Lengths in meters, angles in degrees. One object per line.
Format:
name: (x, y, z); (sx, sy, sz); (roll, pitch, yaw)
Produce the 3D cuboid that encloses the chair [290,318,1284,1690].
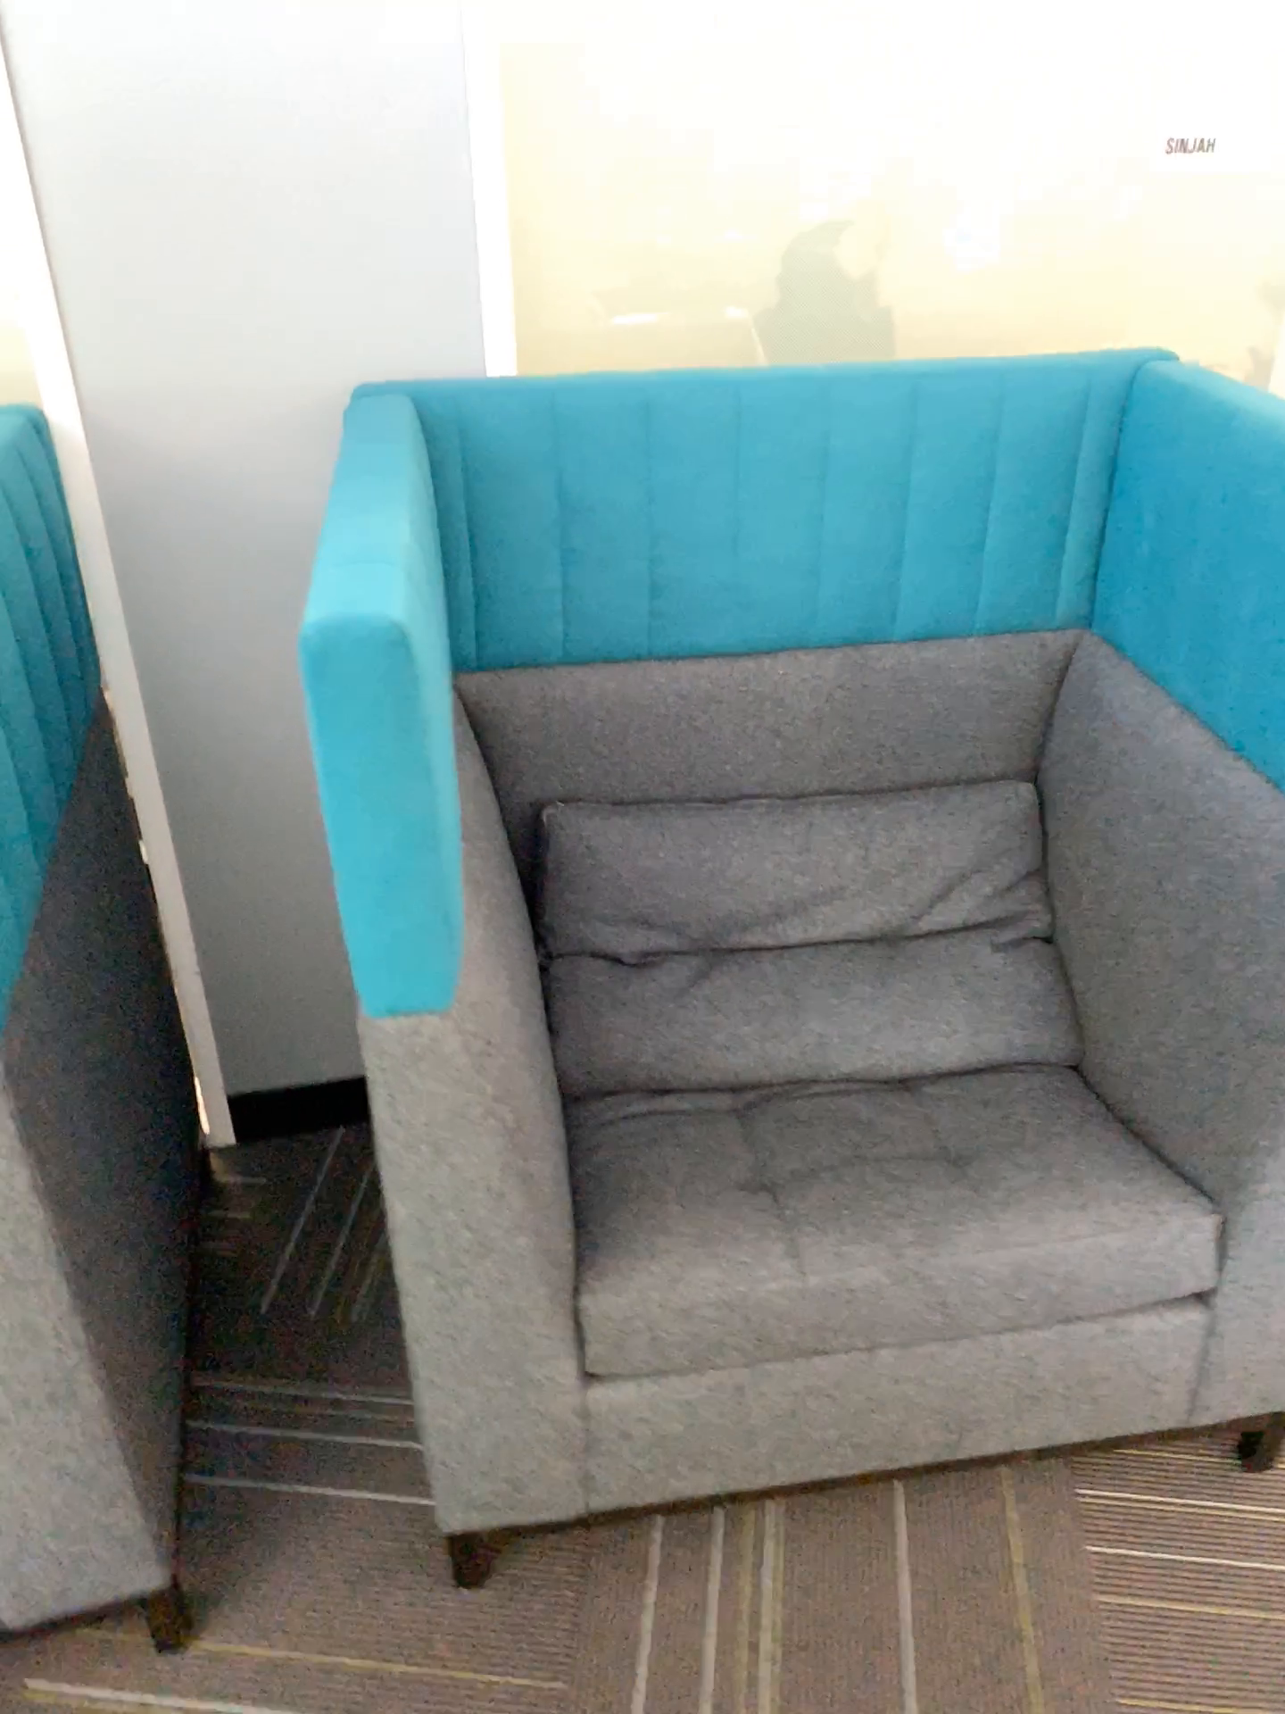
chair: (0.228, 0.084, 1.613); (1.050, 1.213, 1.016); (-5, 31, -7)
